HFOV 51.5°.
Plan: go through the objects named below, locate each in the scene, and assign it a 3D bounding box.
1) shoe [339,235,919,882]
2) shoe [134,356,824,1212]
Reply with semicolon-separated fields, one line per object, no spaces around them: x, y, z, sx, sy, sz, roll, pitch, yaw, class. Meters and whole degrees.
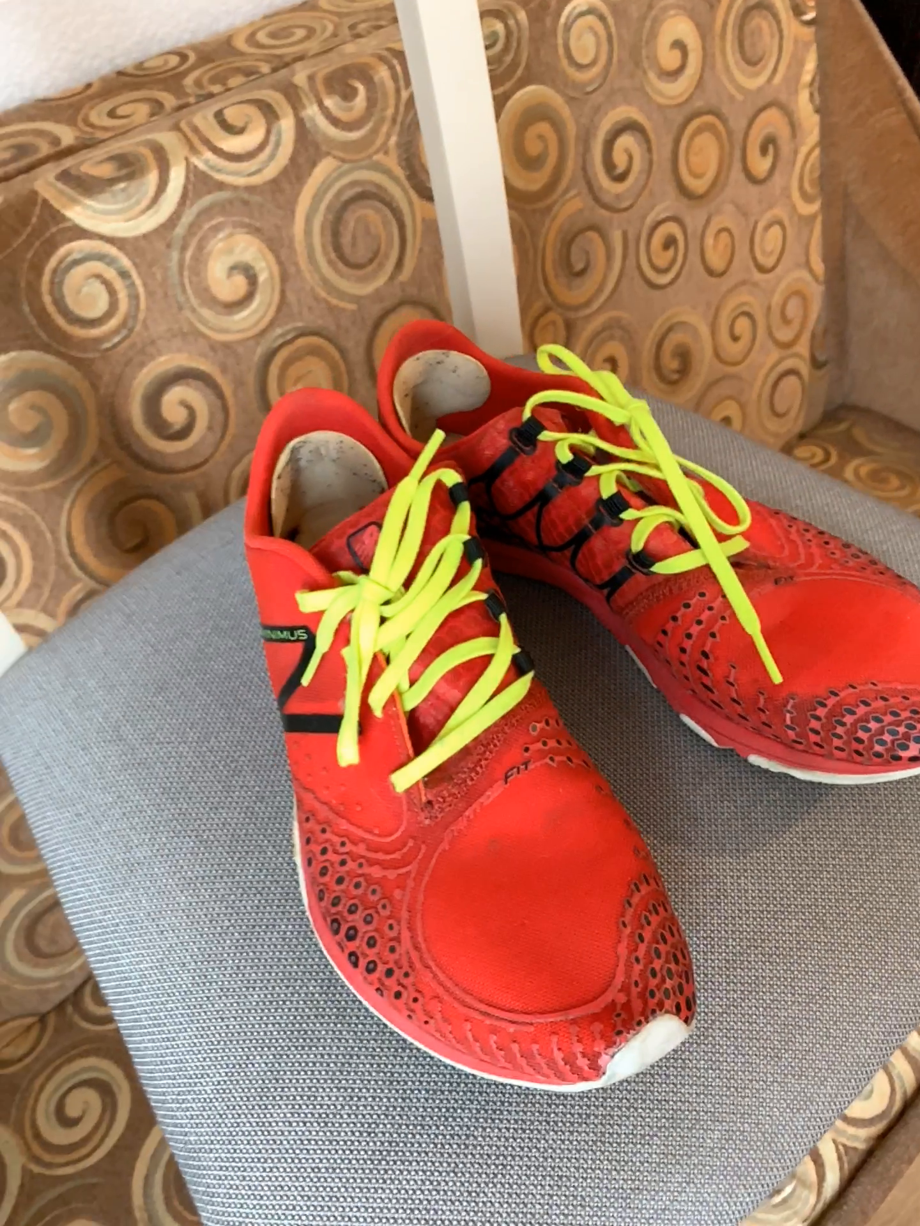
0.086;-0.036;0.374;0.261;0.090;0.110;37;63;26;shoe
-0.014;0.038;0.331;0.110;0.090;0.261;-22;55;-13;shoe
